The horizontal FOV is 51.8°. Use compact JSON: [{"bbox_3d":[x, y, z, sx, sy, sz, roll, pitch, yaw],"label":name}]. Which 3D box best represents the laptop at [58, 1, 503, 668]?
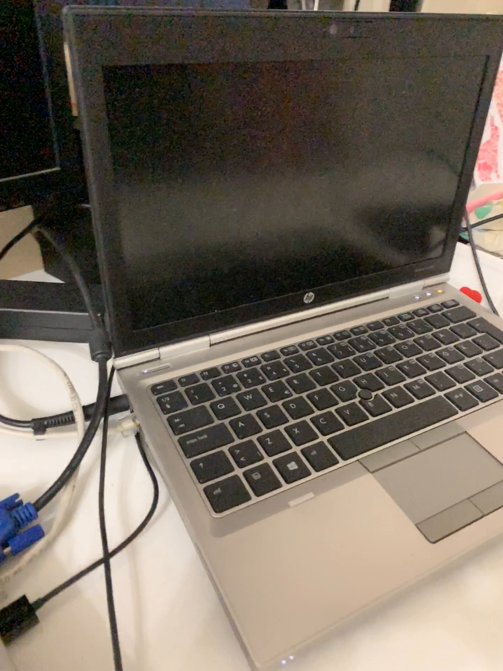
[{"bbox_3d":[0.089,-0.049,0.290,0.303,0.205,0.225,-15,39,-24],"label":"laptop"}]
